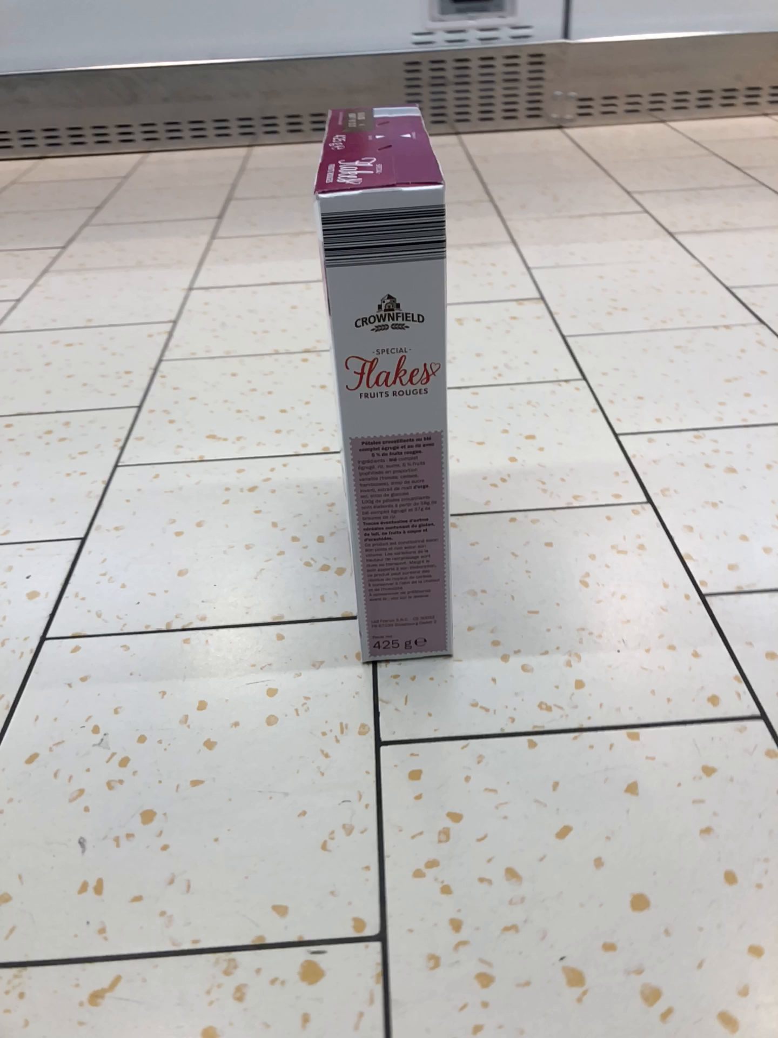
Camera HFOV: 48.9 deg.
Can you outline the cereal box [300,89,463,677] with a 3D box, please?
[{"bbox_3d":[0.001,-0.079,0.476,0.060,0.258,0.201,-3,34,0],"label":"cereal box"}]
